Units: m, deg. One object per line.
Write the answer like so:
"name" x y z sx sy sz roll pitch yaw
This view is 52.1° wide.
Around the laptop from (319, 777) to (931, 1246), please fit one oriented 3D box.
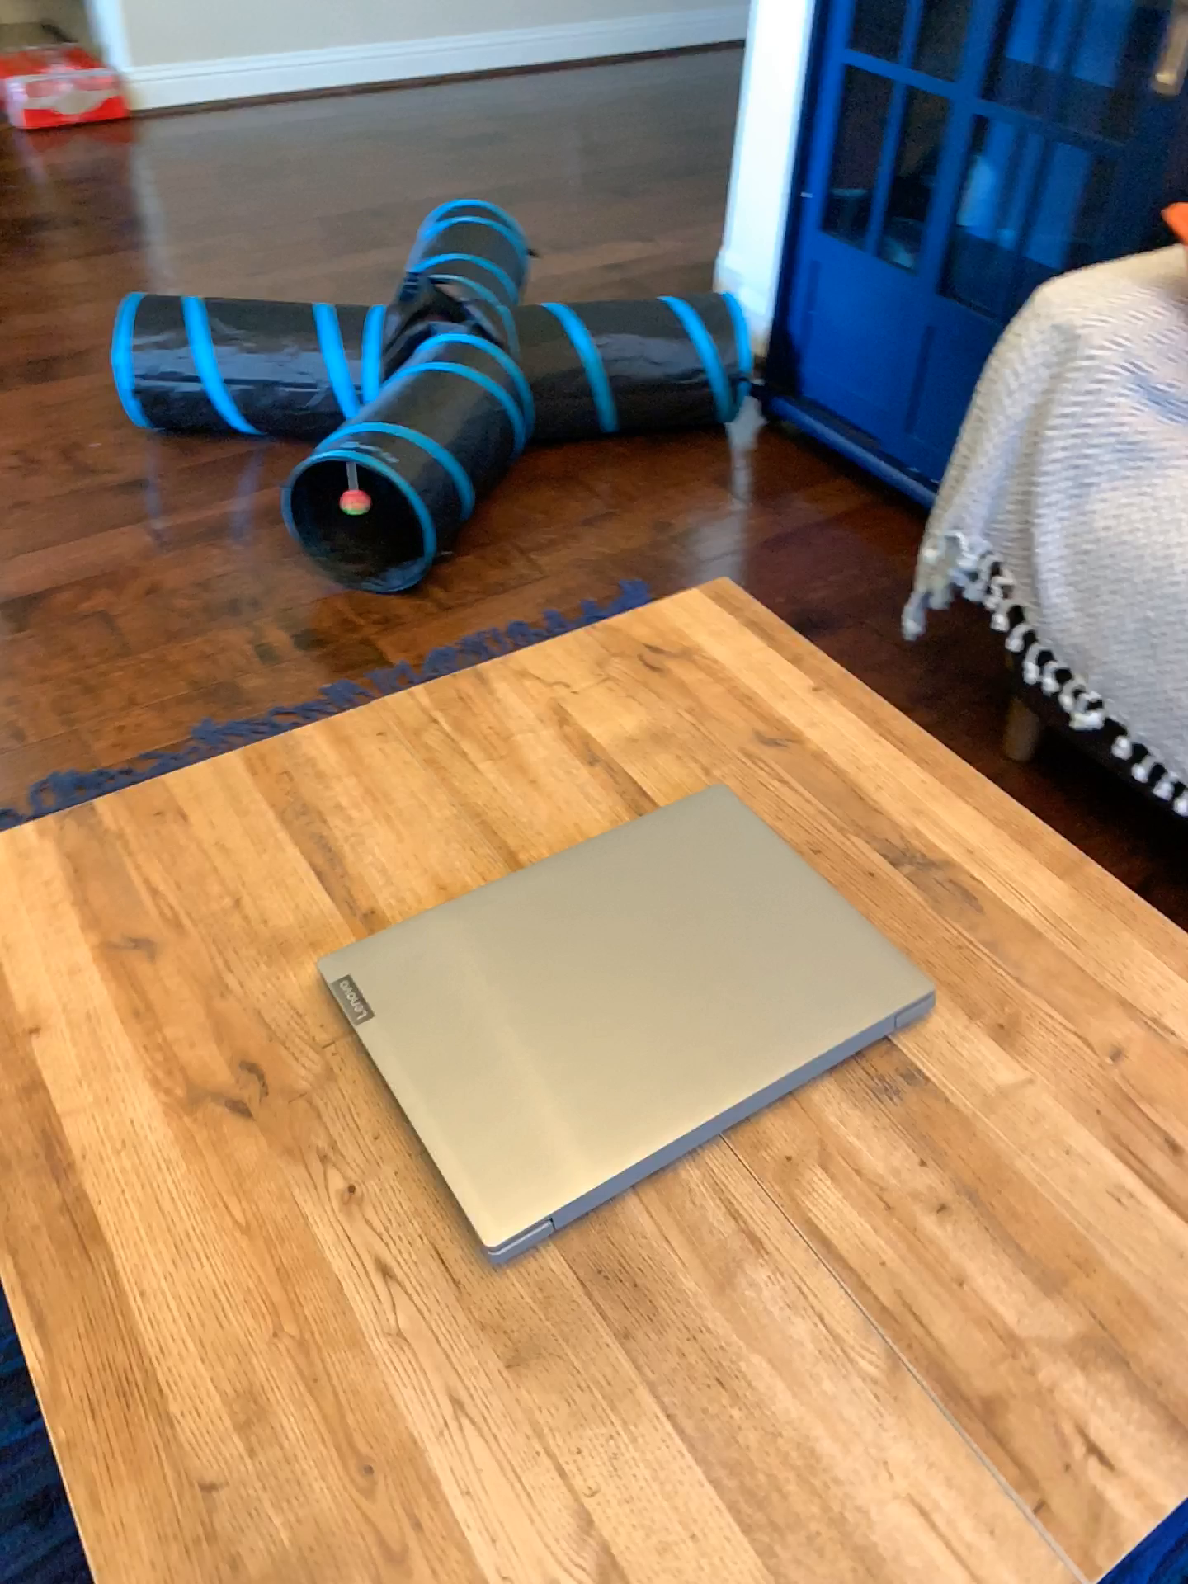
"laptop" 0.022 0.124 0.836 0.347 0.011 0.238 -22 50 -25
